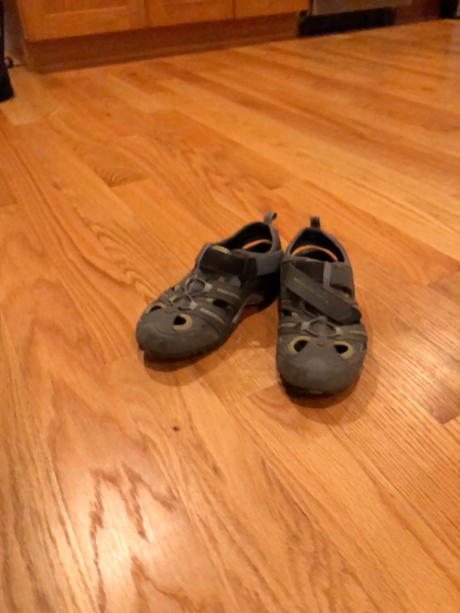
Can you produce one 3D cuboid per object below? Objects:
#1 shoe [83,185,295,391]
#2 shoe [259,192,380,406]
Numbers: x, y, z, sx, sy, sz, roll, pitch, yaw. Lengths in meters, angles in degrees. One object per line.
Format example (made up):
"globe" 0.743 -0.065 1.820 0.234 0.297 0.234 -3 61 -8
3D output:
"shoe" -0.031 -0.036 0.591 0.100 0.112 0.246 21 41 29
"shoe" 0.089 -0.023 0.562 0.100 0.112 0.247 1 35 6
